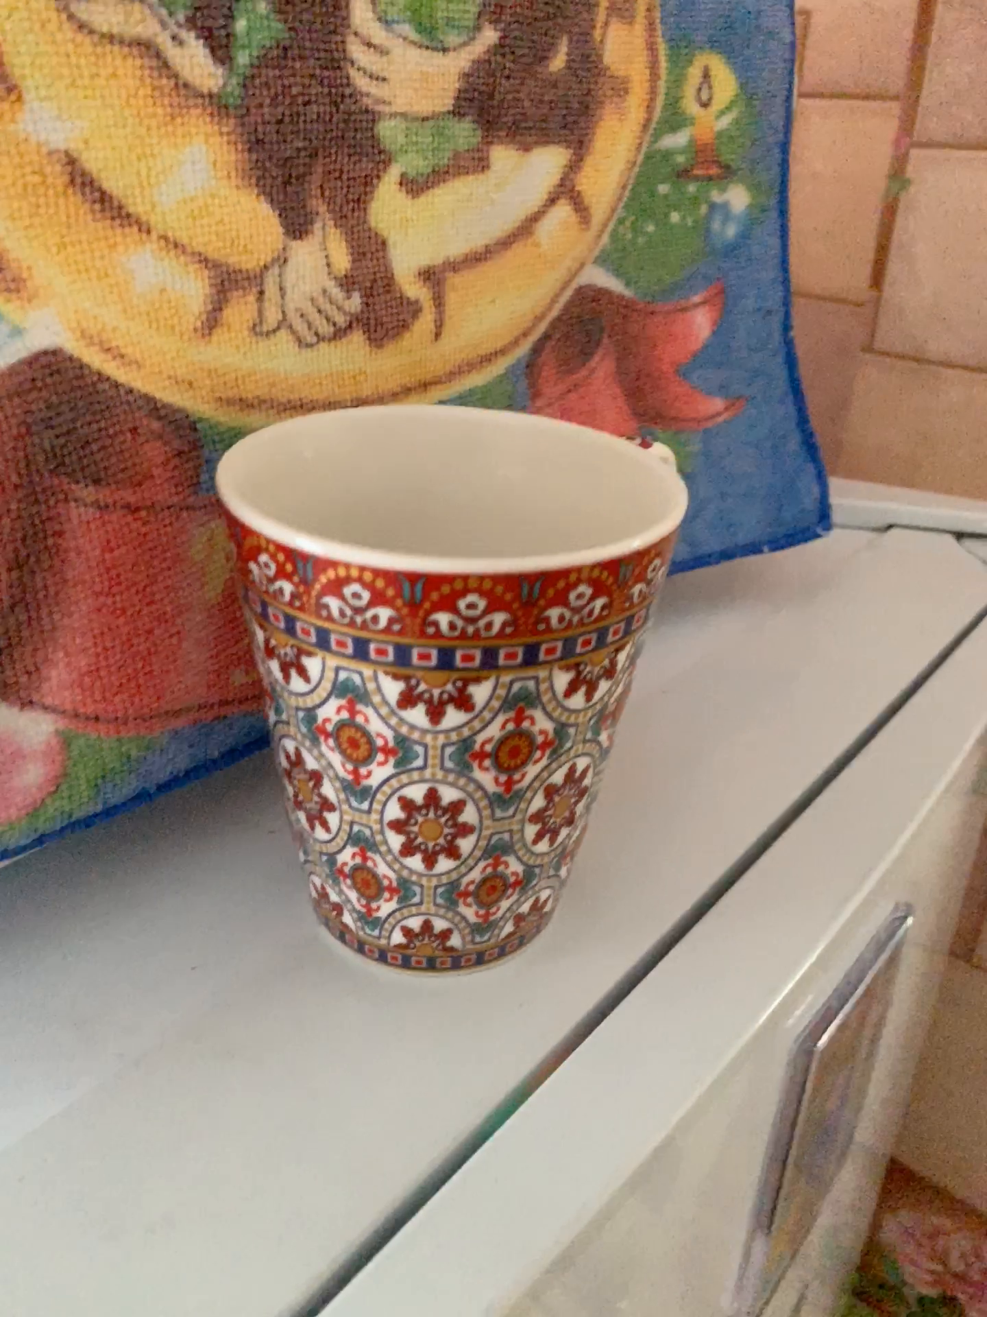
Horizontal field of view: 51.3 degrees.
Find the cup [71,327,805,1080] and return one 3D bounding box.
[{"bbox_3d":[-0.004,-0.007,0.227,0.089,0.101,0.125,18,32,28],"label":"cup"}]
